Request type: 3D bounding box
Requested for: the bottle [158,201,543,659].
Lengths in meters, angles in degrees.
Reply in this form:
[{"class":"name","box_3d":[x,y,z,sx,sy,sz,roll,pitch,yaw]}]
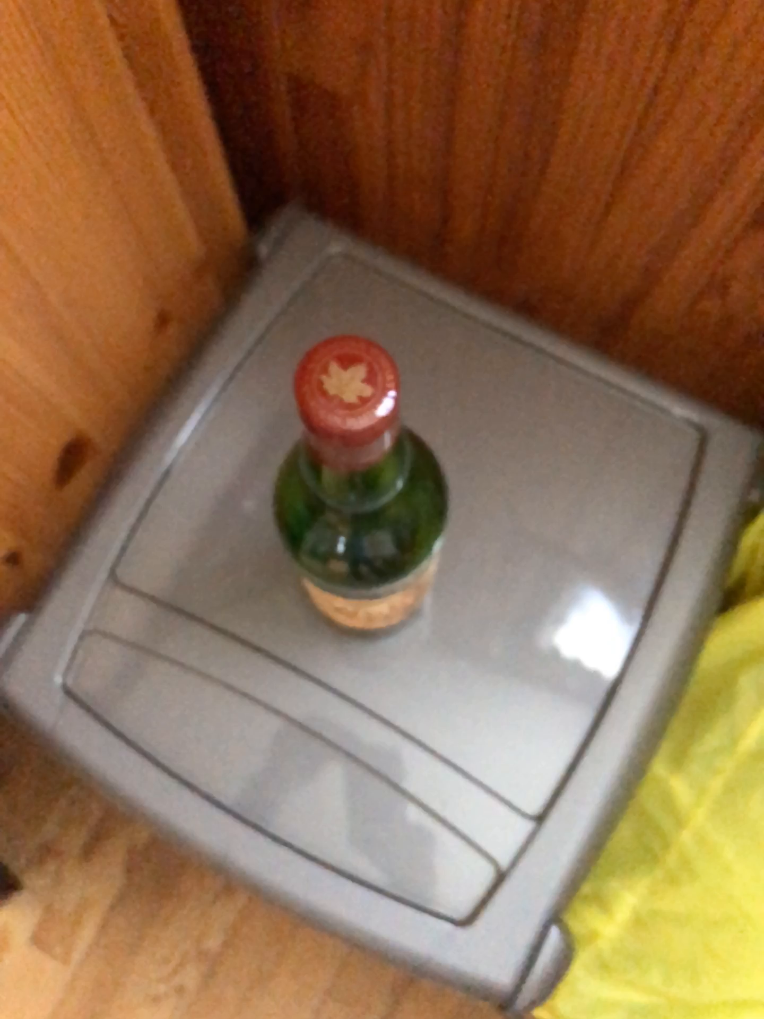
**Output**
[{"class":"bottle","box_3d":[-0.008,-0.001,0.387,0.080,0.300,0.080,0,75,1]}]
